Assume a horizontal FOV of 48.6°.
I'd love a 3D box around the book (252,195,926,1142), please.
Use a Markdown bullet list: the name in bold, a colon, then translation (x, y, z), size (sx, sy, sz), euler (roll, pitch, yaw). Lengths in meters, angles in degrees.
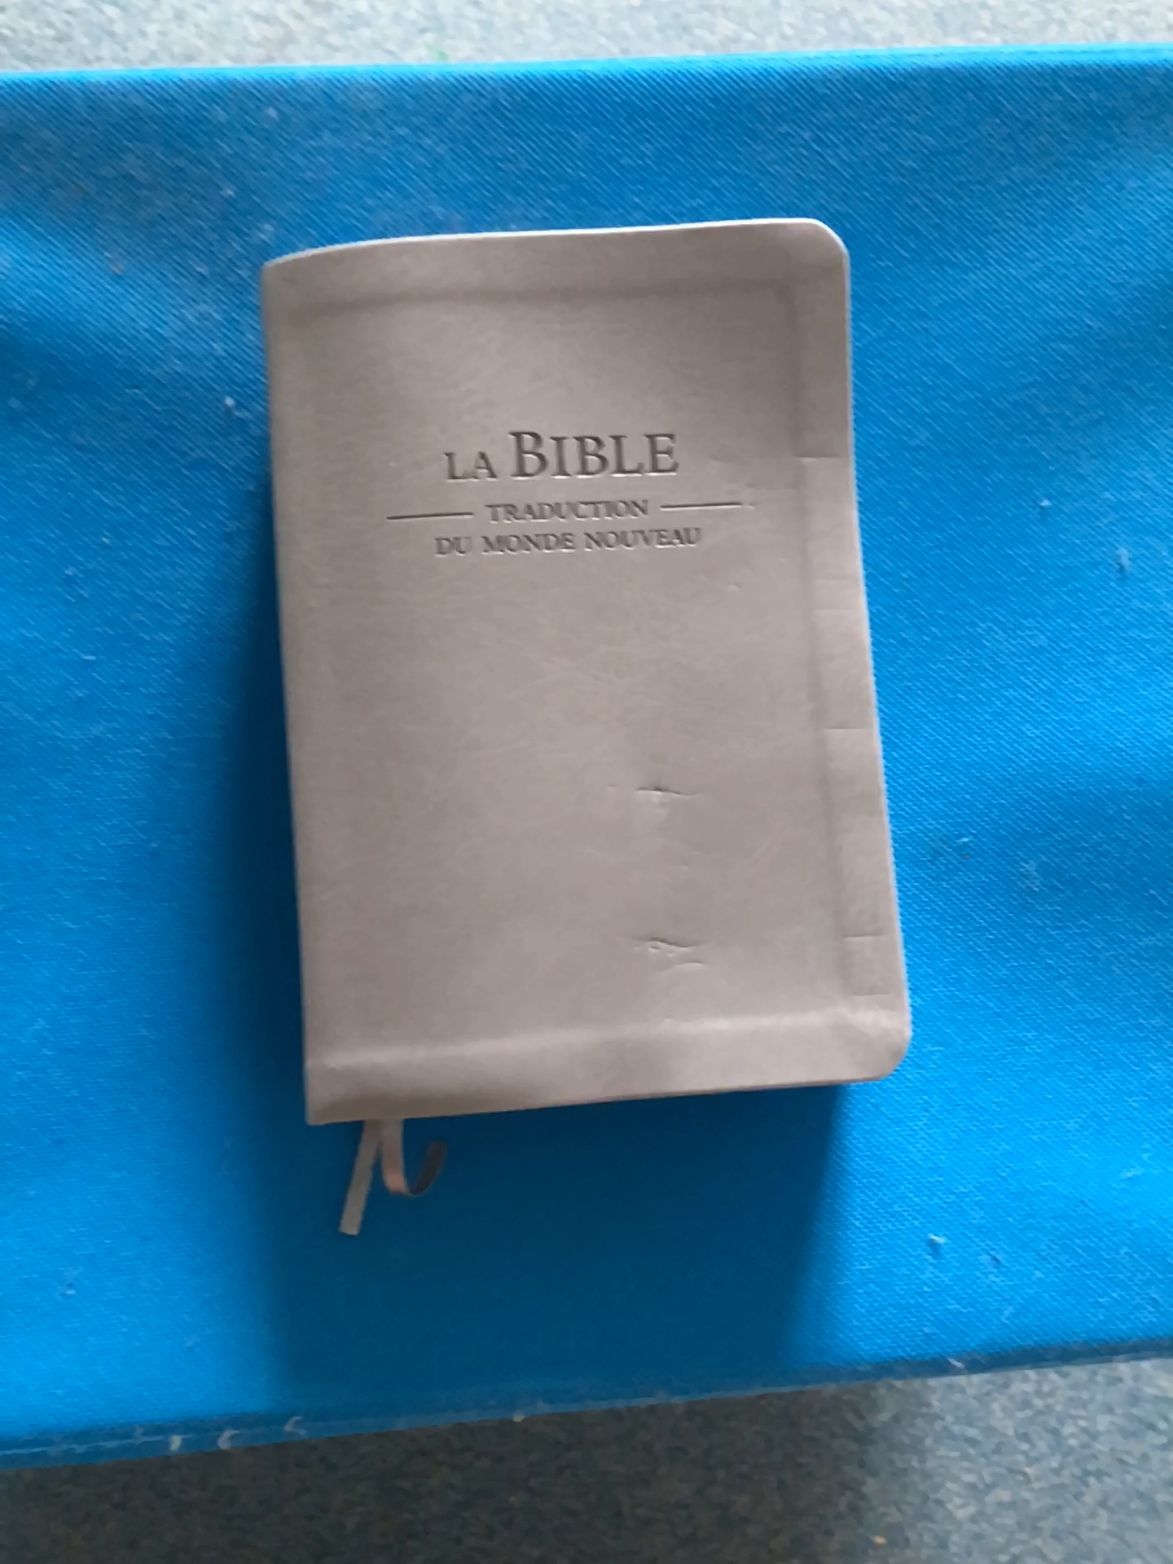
- **book**: translation (-0.001, -0.023, 0.281), size (0.121, 0.051, 0.180), euler (-4, 88, -1)
